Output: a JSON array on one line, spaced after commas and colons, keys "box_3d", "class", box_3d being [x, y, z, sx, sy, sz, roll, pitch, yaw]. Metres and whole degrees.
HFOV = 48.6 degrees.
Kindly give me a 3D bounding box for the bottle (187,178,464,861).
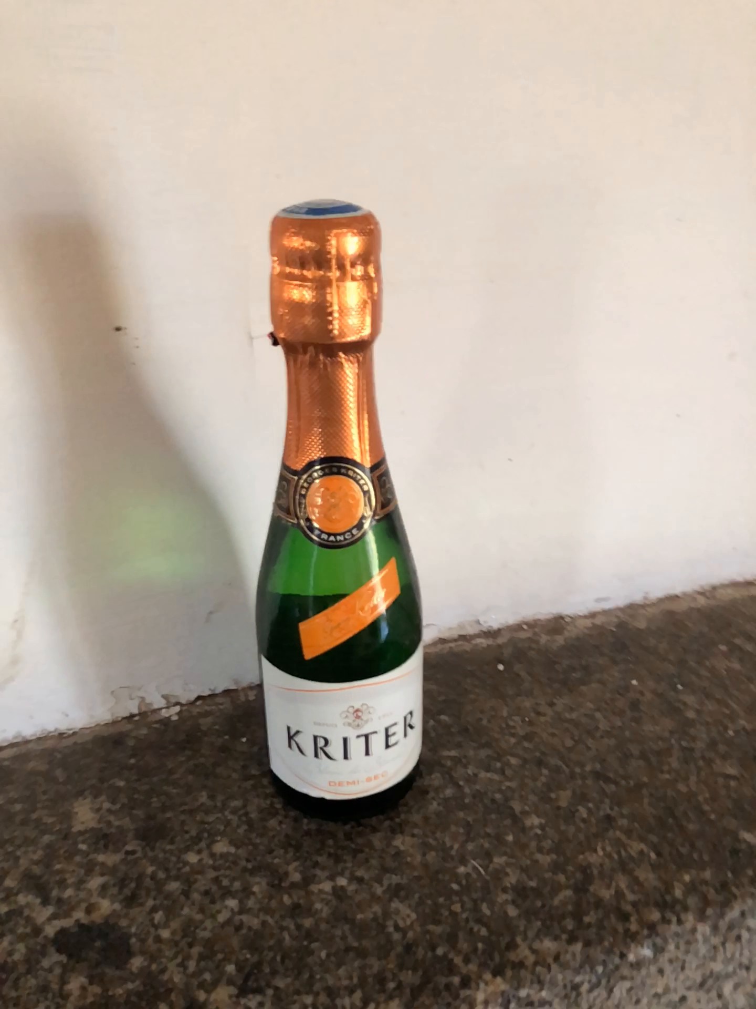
[{"box_3d": [-0.015, 0.007, 0.266, 0.060, 0.199, 0.070, -8, 26, -14], "class": "bottle"}]
